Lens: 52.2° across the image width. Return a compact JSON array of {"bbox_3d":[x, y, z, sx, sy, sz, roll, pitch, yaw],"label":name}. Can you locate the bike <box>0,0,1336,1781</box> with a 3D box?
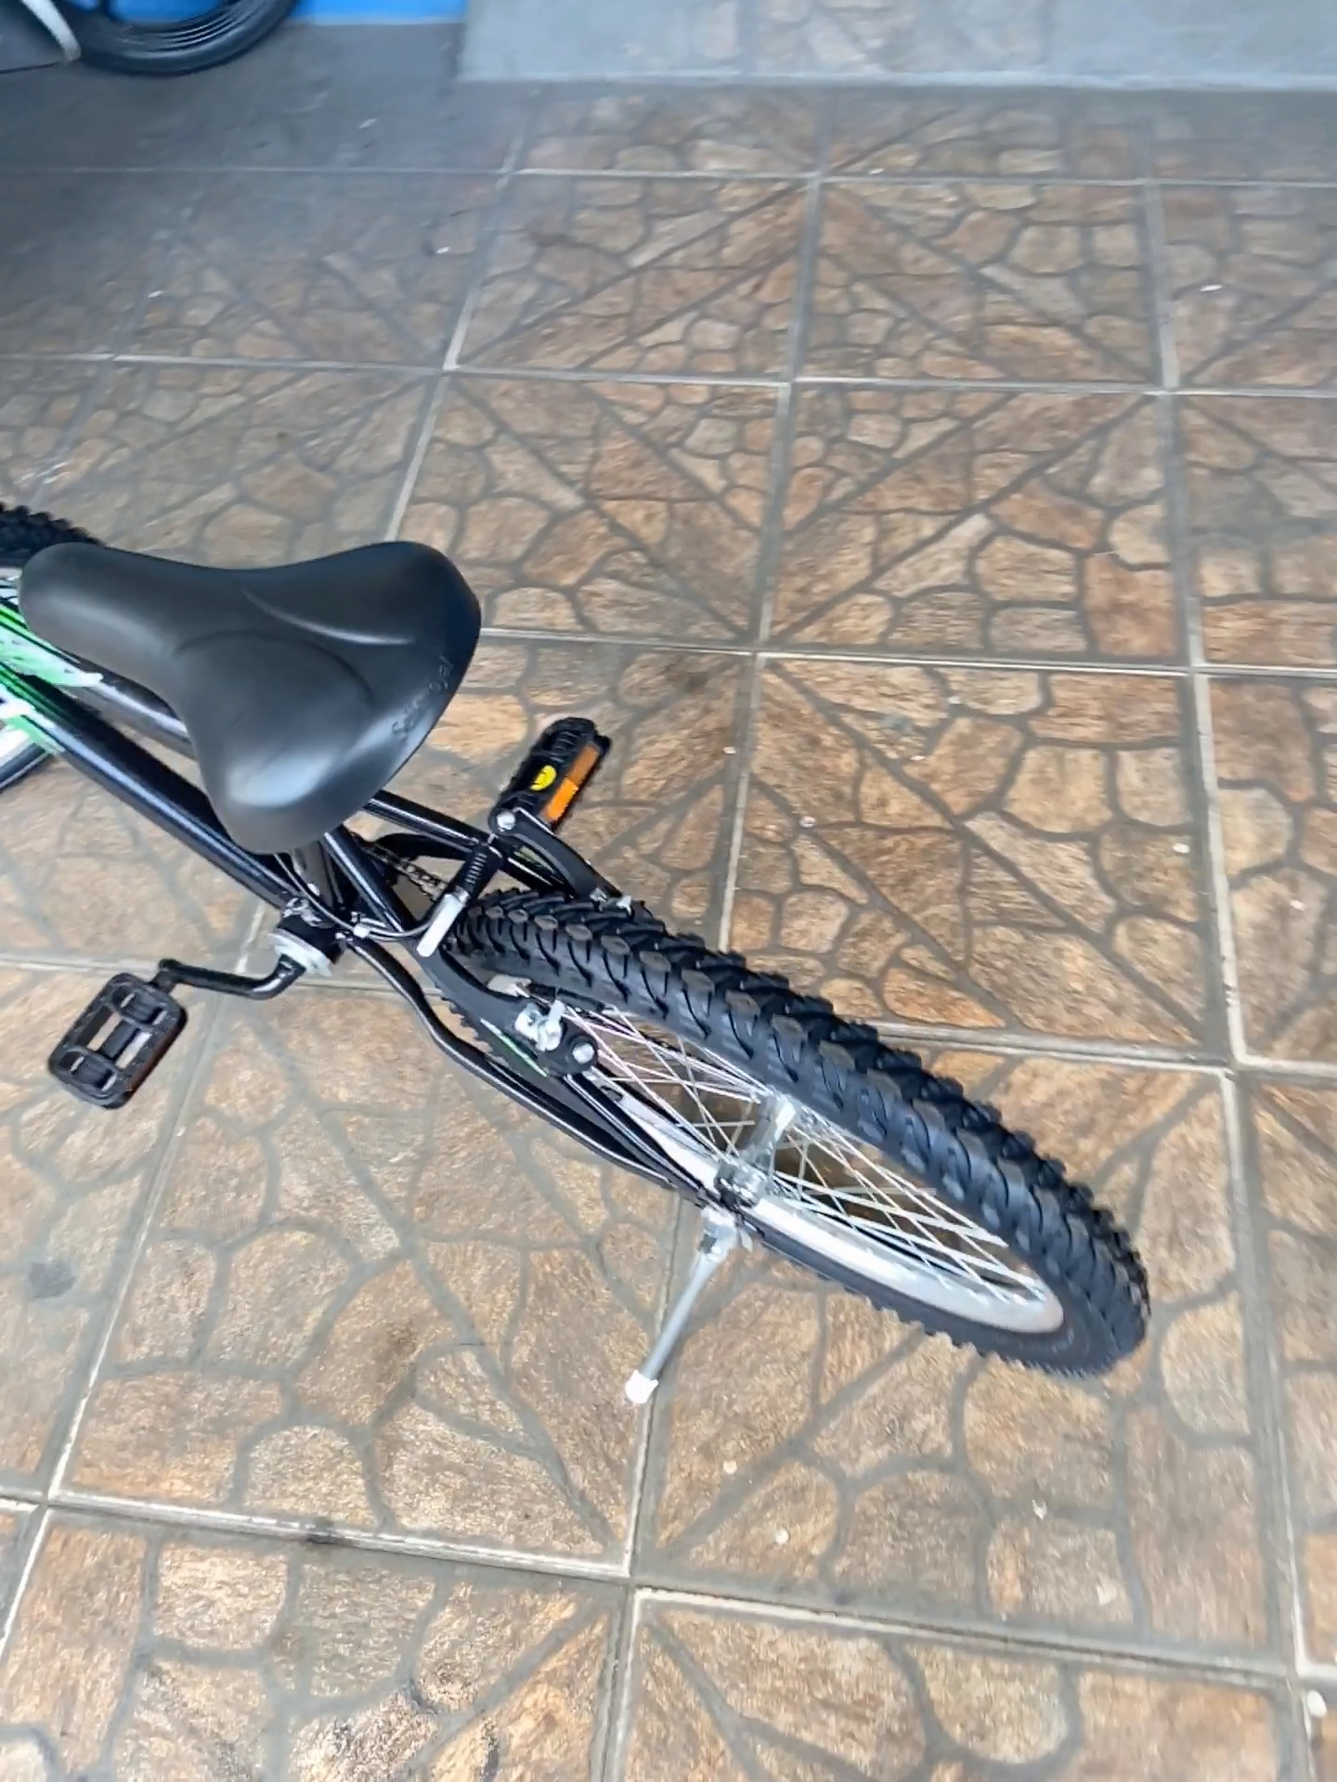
[{"bbox_3d":[-0.345,0.029,0.803,1.270,0.936,0.600,15,57,18],"label":"bike"}]
